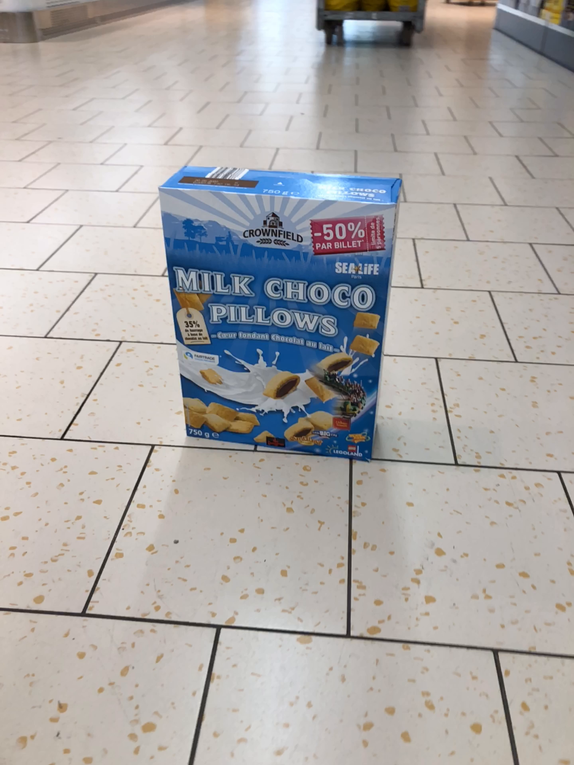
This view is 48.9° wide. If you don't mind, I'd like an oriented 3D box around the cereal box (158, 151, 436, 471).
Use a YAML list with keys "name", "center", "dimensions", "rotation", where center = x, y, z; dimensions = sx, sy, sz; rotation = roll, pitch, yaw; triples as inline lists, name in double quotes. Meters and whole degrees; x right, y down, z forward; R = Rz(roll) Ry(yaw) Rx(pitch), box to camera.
- name: "cereal box"
  center: [0.010, -0.061, 0.576]
  dimensions: [0.210, 0.258, 0.081]
  rotation: [8, 34, 12]
